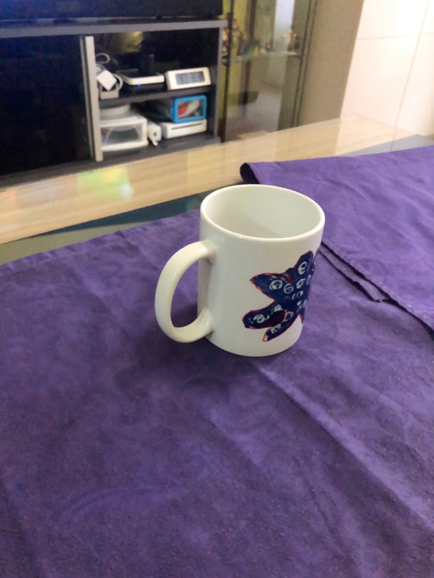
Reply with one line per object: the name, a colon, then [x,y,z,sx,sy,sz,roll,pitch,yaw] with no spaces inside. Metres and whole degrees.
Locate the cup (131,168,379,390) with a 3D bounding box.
cup: [0.022,-0.014,0.323,0.130,0.090,0.080,-18,41,-27]
